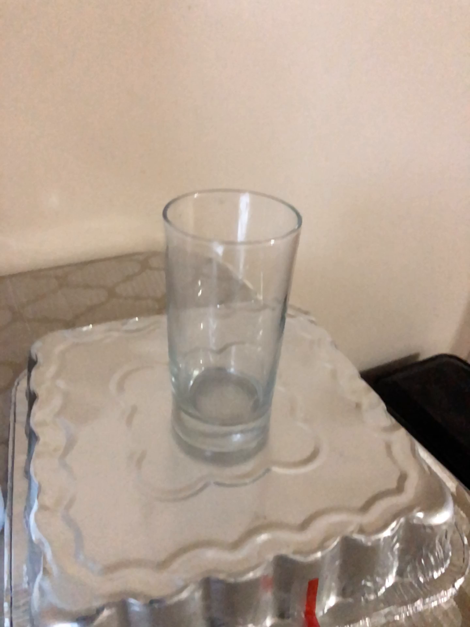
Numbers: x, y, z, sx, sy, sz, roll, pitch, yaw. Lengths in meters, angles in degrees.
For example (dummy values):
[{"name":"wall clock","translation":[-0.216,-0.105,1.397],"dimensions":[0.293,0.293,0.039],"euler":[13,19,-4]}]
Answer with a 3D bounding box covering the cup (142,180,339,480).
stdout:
[{"name":"cup","translation":[-0.003,0.007,0.257],"dimensions":[0.060,0.119,0.060],"euler":[4,32,-3]}]
